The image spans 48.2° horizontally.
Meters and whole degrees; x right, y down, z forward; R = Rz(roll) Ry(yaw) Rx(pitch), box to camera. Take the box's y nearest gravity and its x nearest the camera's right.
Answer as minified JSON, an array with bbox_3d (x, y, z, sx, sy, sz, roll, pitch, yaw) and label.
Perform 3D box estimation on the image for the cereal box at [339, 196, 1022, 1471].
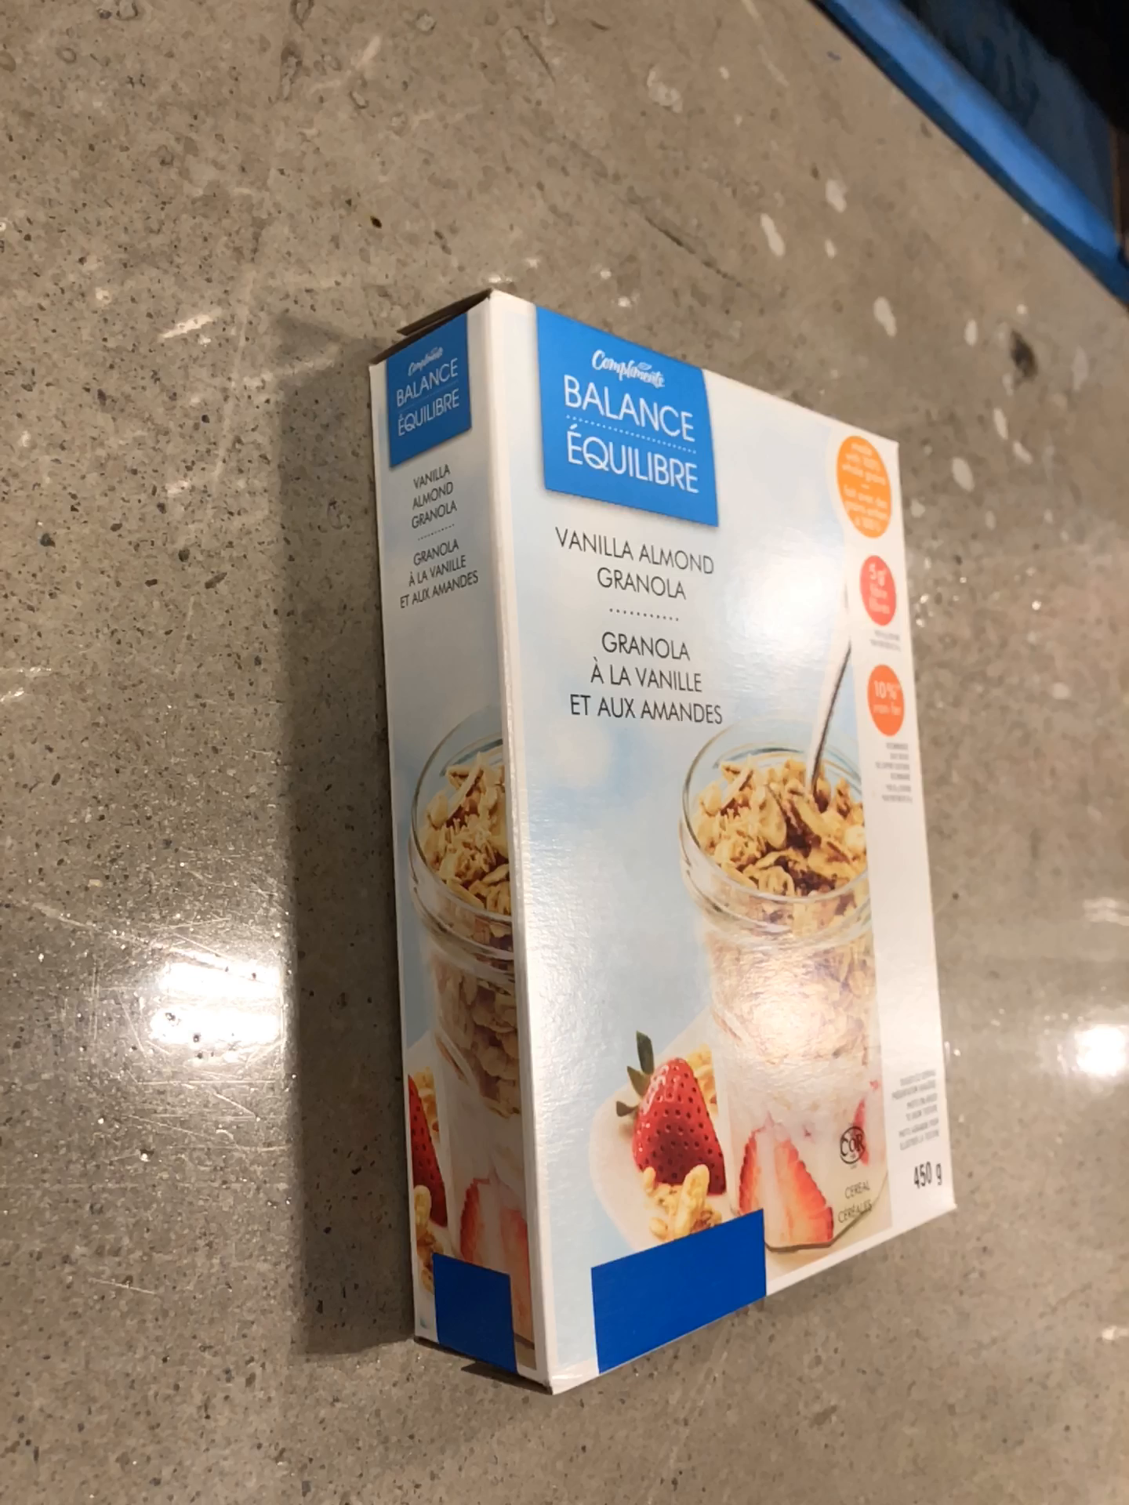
[{"bbox_3d":[0.040,0.015,0.322,0.191,0.050,0.240,2,83,-44],"label":"cereal box"}]
